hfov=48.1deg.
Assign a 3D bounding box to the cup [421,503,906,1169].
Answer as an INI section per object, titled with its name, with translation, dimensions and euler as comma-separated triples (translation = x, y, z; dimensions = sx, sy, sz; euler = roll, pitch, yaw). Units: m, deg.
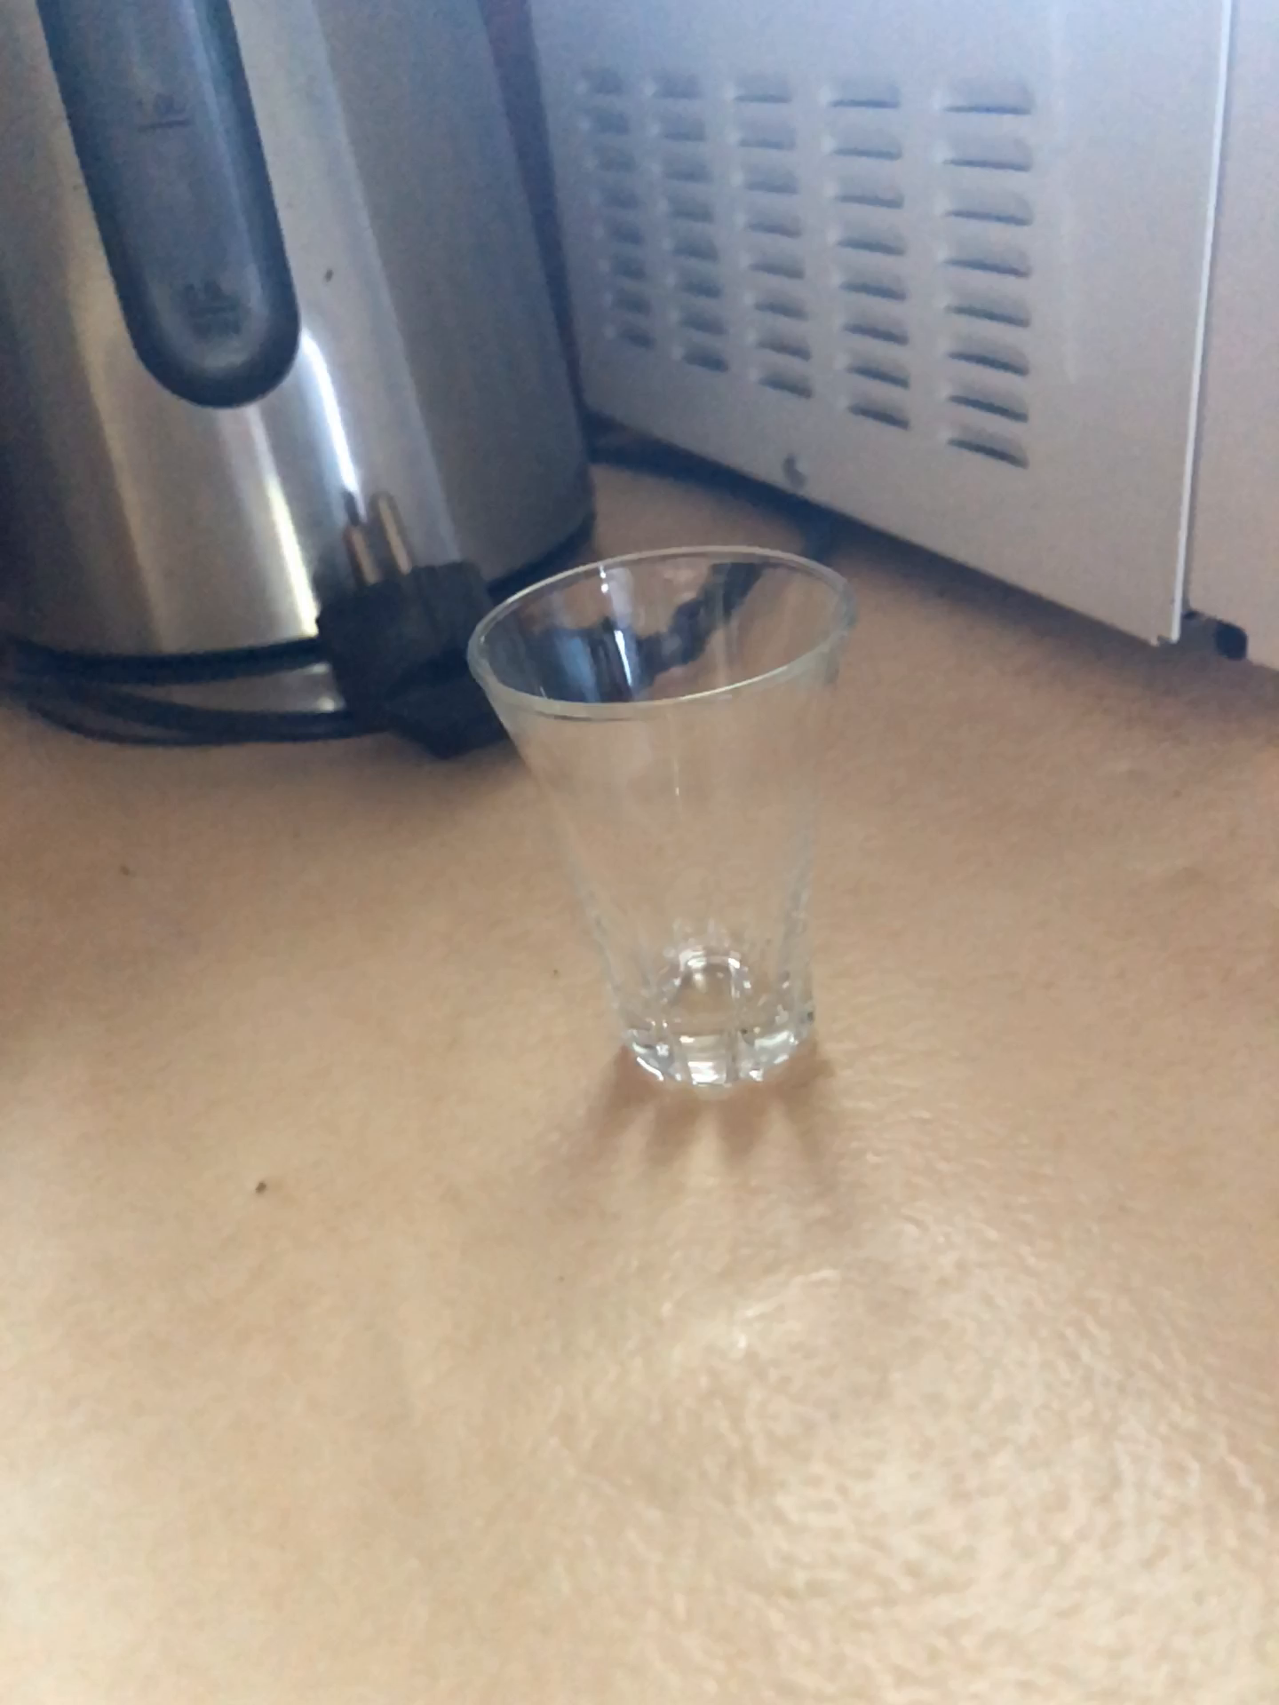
[cup]
translation = 0.004, -0.004, 0.204
dimensions = 0.050, 0.070, 0.050
euler = -6, 32, 4
